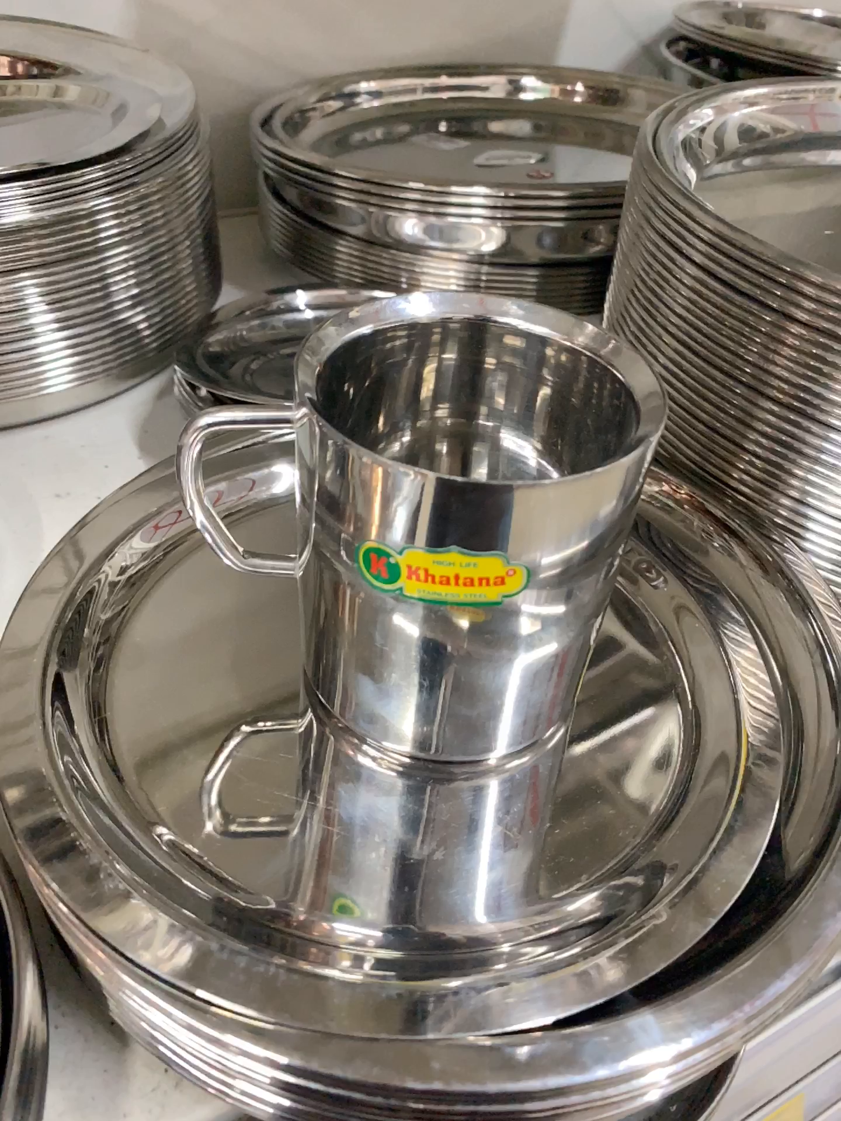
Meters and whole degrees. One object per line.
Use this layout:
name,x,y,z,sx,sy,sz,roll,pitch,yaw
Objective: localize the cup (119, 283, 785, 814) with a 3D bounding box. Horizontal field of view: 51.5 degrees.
cup,0.002,-0.004,0.202,0.110,0.090,0.080,-1,40,-5
